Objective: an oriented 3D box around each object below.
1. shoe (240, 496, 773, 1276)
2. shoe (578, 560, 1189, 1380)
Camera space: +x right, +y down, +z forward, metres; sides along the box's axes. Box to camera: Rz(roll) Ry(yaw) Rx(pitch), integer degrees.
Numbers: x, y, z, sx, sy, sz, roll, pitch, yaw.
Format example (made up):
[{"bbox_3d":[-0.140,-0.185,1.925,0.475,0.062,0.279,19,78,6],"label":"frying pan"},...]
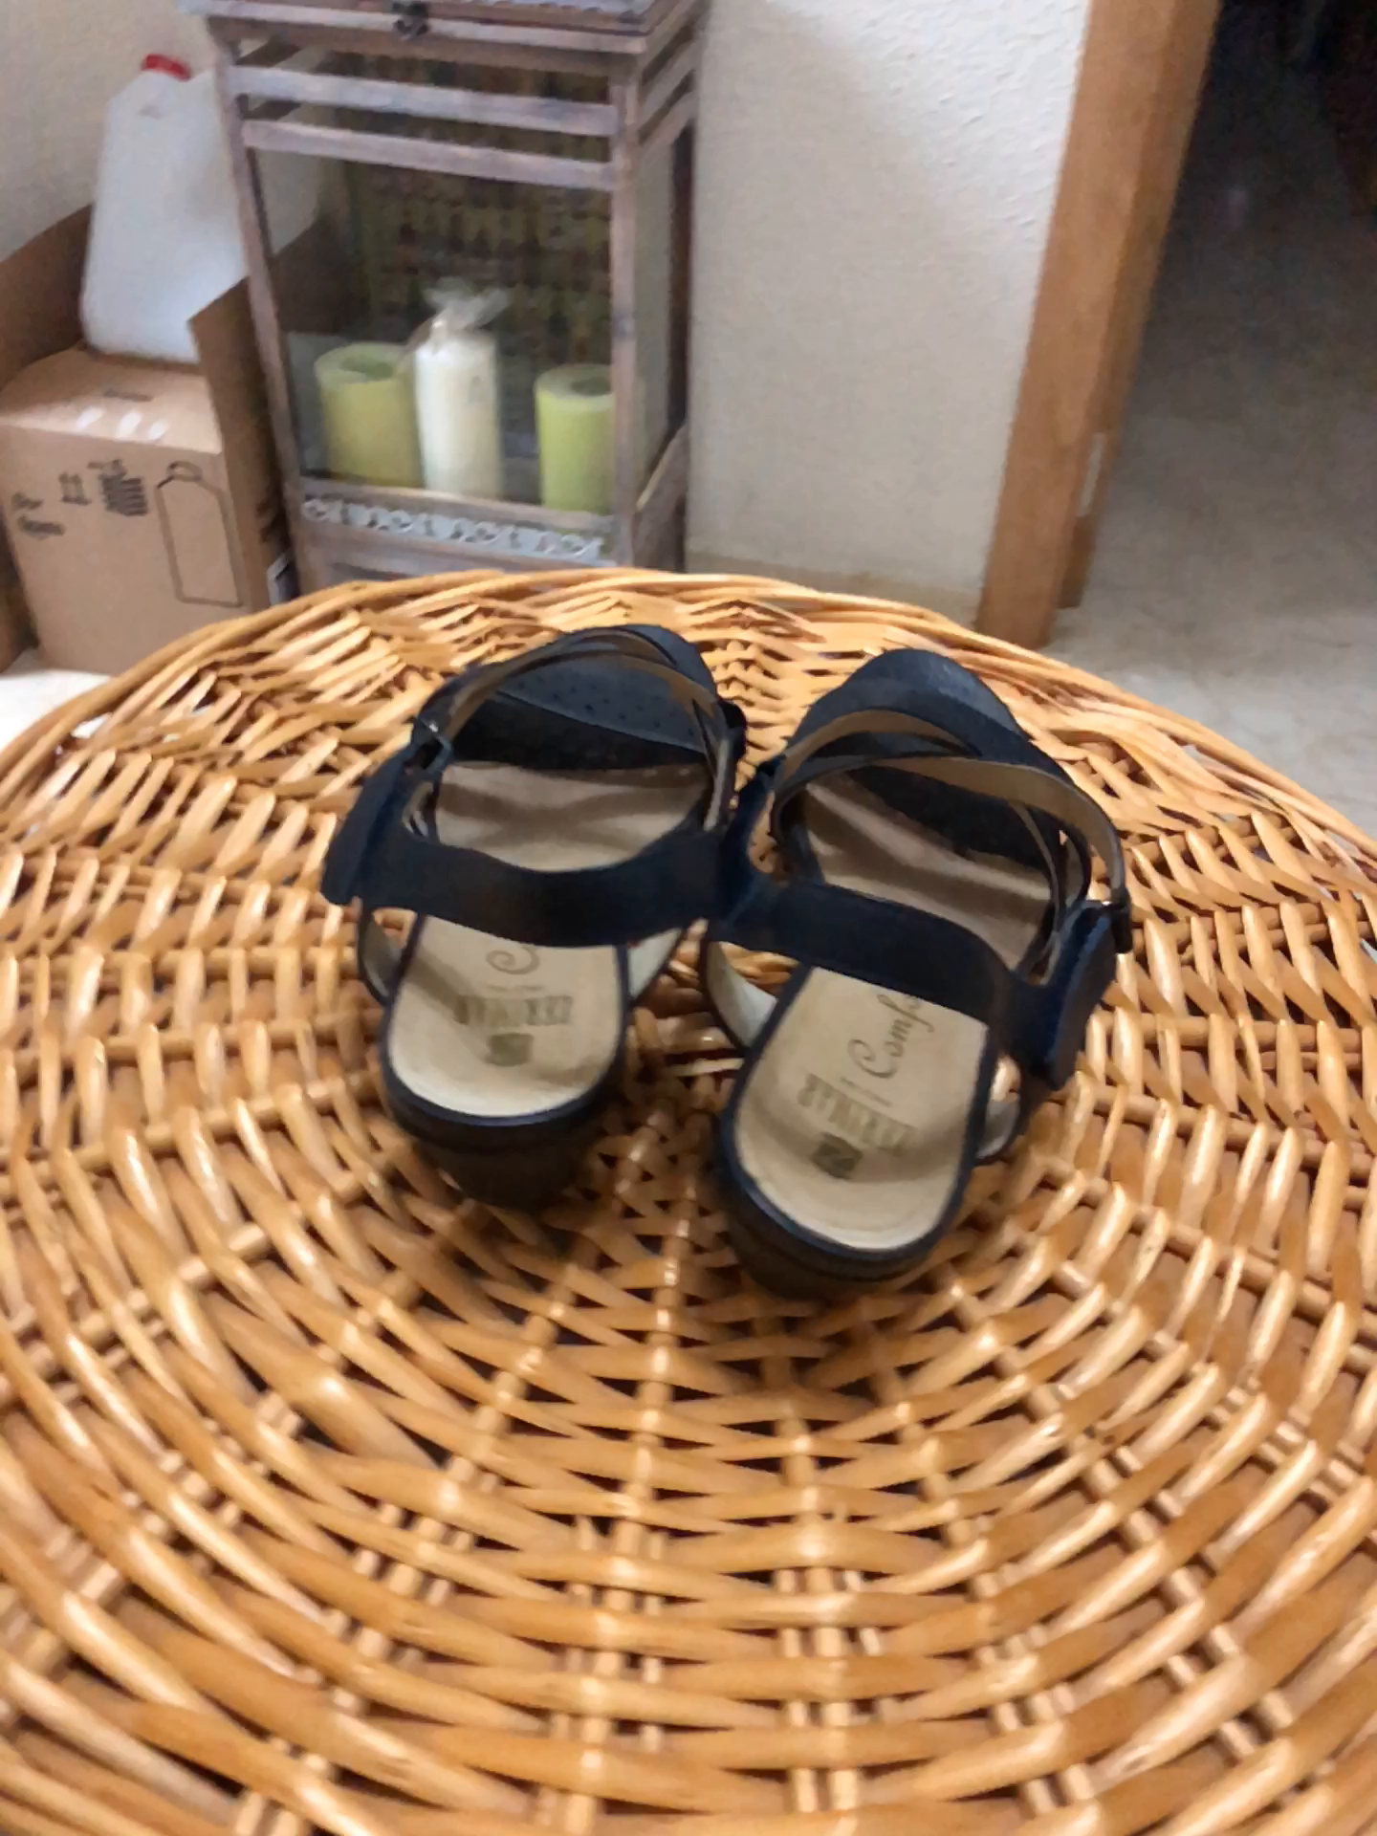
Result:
[{"bbox_3d":[-0.032,-0.030,0.422,0.090,0.088,0.249,6,34,3],"label":"shoe"},{"bbox_3d":[0.061,-0.010,0.418,0.100,0.092,0.248,19,29,4],"label":"shoe"}]
